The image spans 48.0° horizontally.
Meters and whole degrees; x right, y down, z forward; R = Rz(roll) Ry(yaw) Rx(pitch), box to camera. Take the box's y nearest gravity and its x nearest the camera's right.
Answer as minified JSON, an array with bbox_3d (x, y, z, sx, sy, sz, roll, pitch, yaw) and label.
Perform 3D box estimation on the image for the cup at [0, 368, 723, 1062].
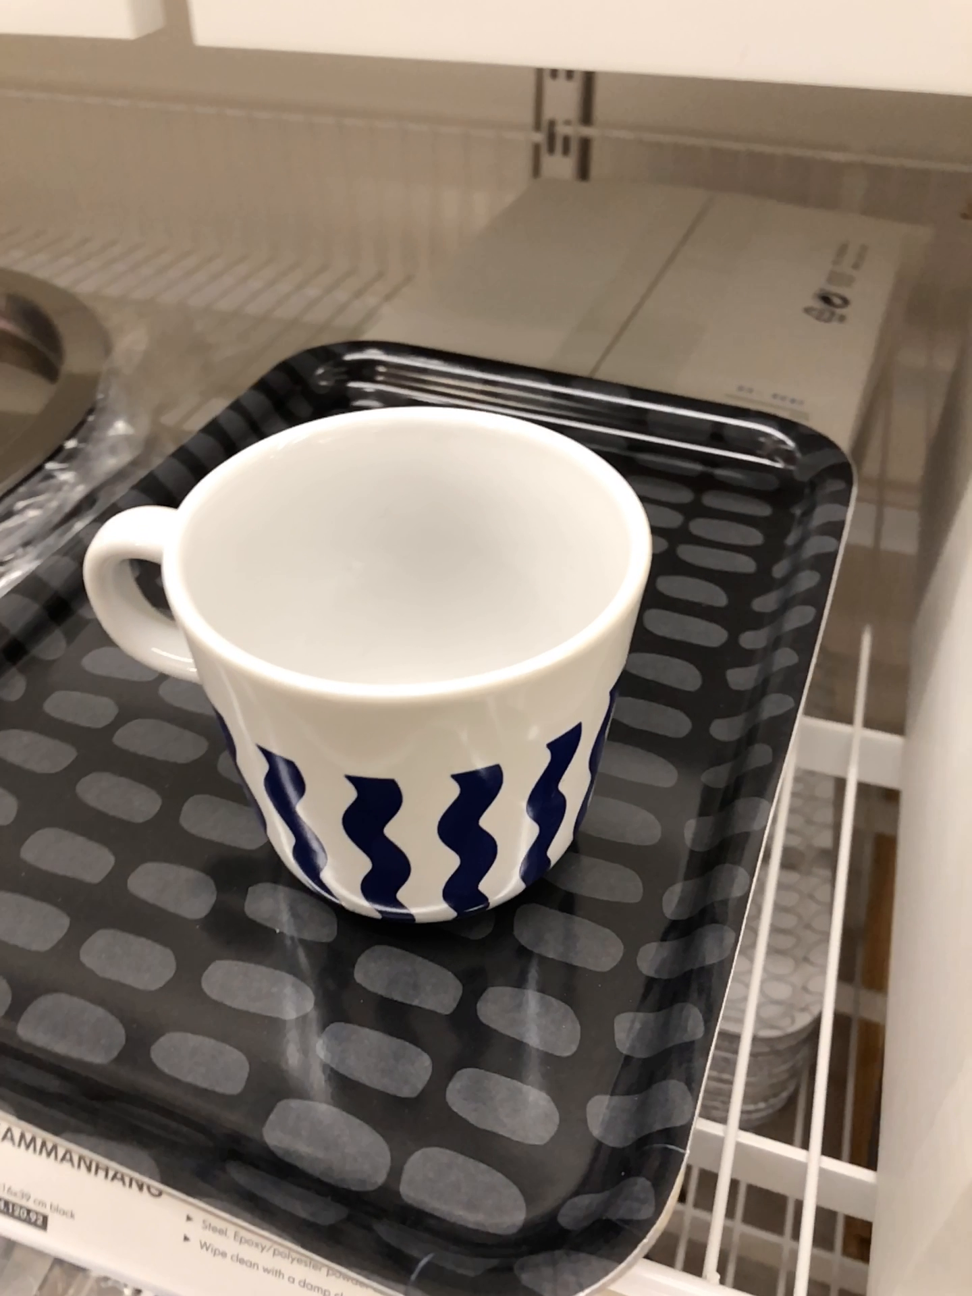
[{"bbox_3d":[-0.023,0.007,0.218,0.120,0.080,0.090,9,40,12],"label":"cup"}]
